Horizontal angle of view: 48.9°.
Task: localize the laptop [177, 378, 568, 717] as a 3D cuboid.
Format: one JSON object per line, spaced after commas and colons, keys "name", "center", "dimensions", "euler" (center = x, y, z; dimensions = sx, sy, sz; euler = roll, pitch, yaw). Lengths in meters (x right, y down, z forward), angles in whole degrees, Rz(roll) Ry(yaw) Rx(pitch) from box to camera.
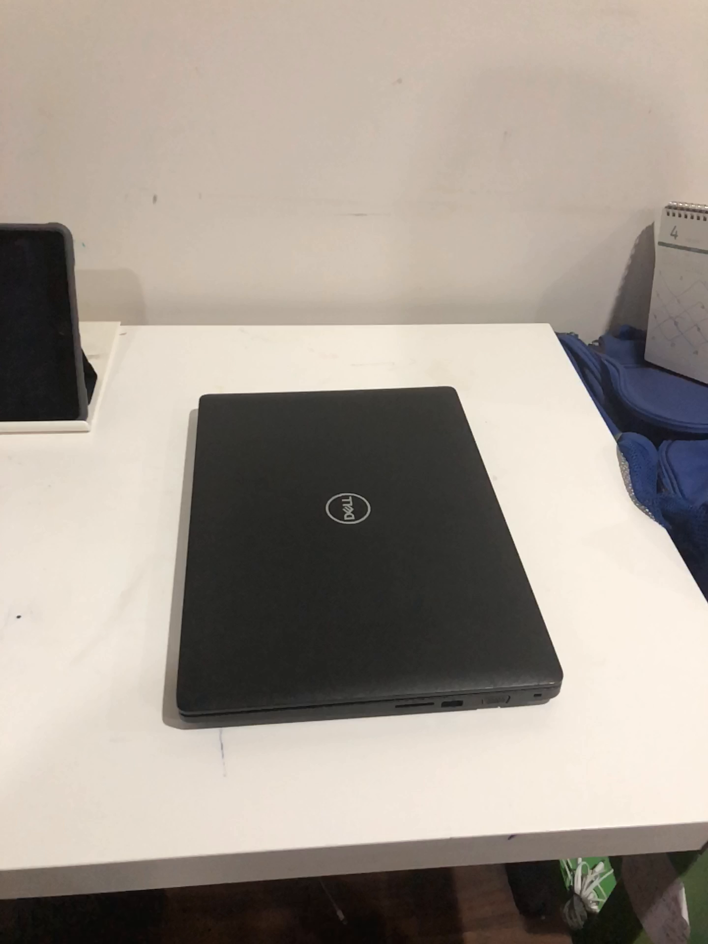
{"name": "laptop", "center": [-0.004, 0.030, 0.606], "dimensions": [0.241, 0.010, 0.334], "euler": [-4, 41, -4]}
